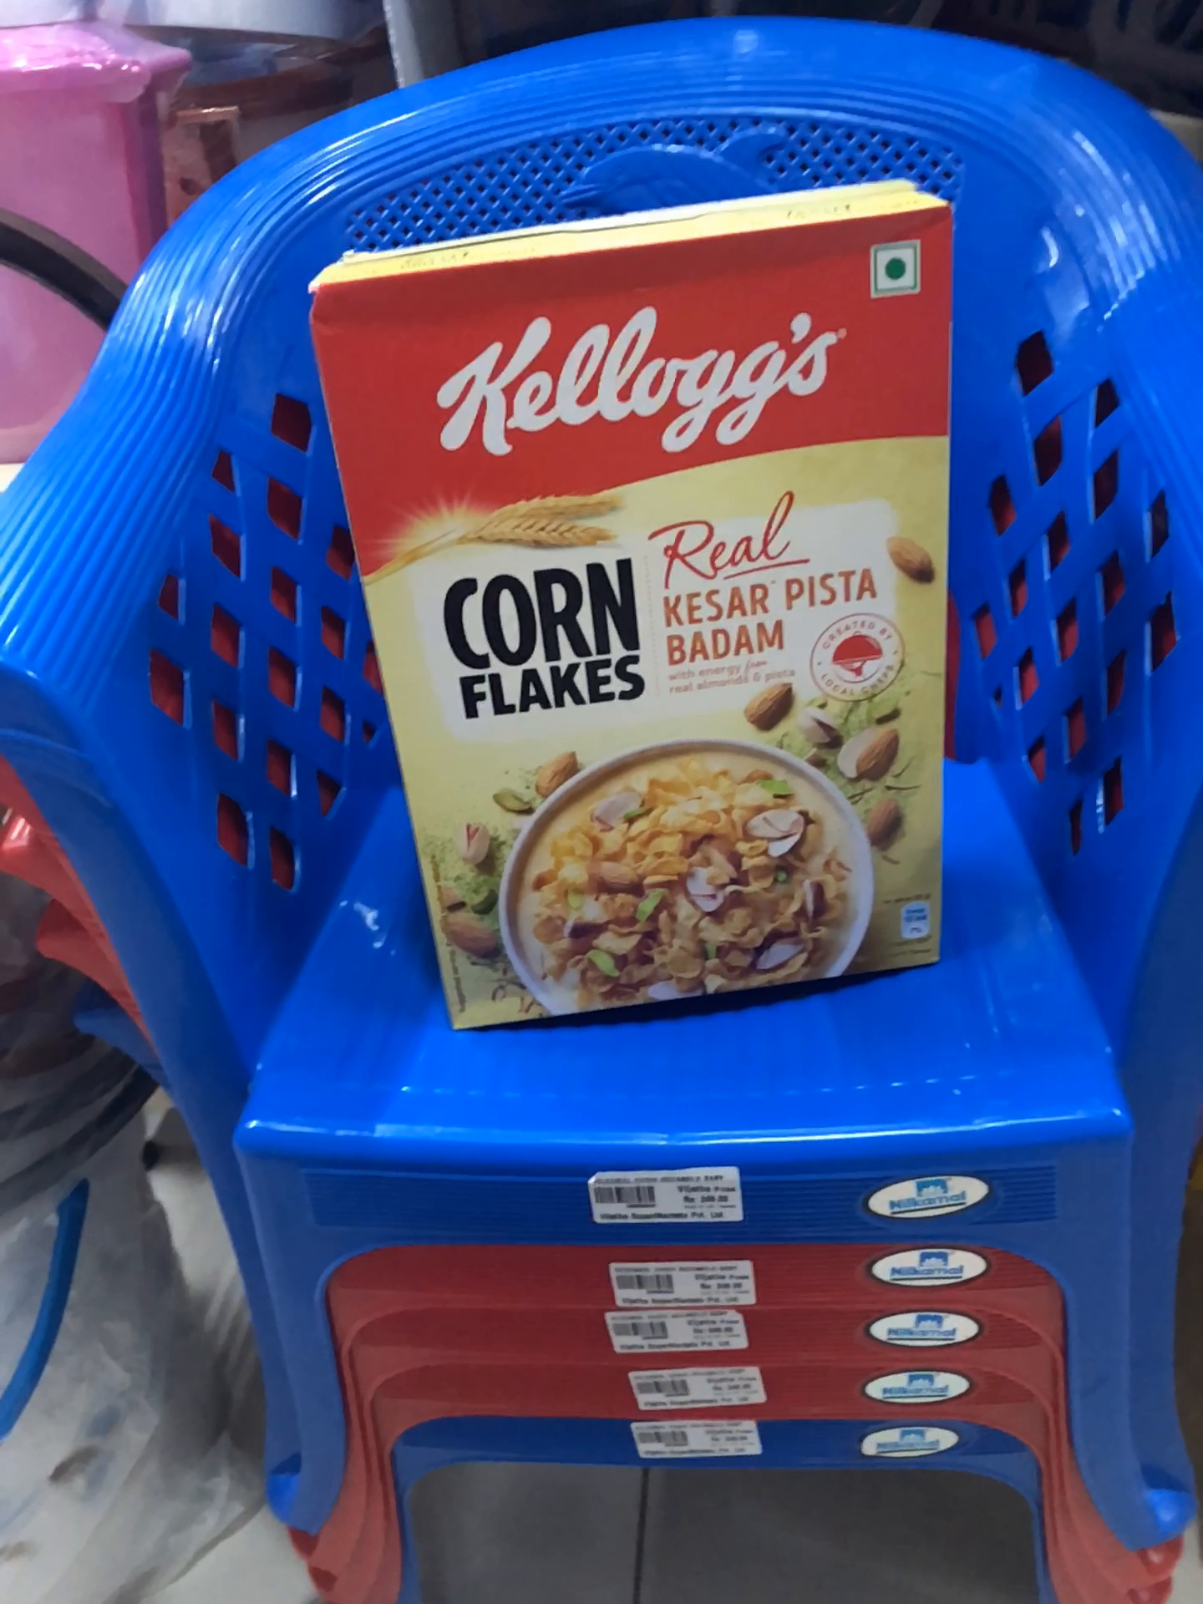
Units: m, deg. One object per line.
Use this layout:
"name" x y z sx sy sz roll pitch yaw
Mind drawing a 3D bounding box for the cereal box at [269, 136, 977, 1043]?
"cereal box" 0.020 -0.061 0.449 0.190 0.269 0.070 -8 28 0
